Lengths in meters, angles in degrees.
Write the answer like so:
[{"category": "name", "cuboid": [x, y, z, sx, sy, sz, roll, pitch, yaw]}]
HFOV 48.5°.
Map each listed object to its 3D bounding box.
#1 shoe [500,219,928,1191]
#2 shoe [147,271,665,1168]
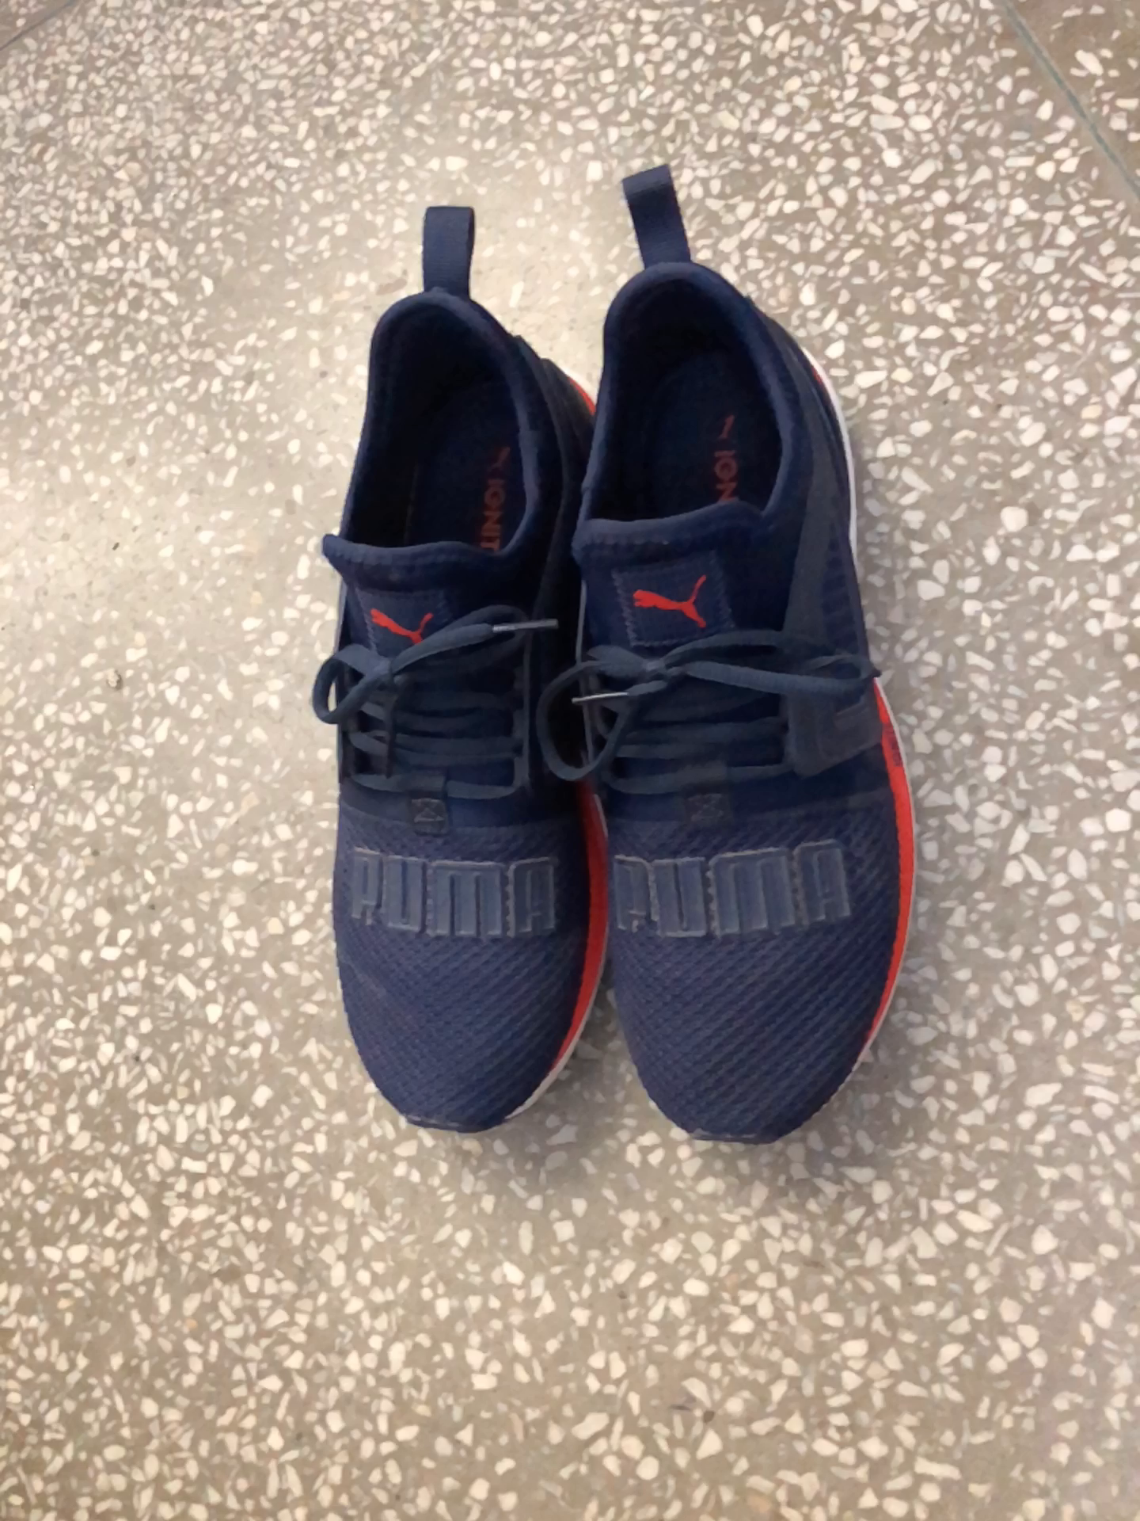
[{"category": "shoe", "cuboid": [0.053, -0.012, 0.394, 0.107, 0.113, 0.257, -1, 78, 16]}, {"category": "shoe", "cuboid": [-0.042, -0.010, 0.422, 0.107, 0.113, 0.257, 2, 79, 17]}]
